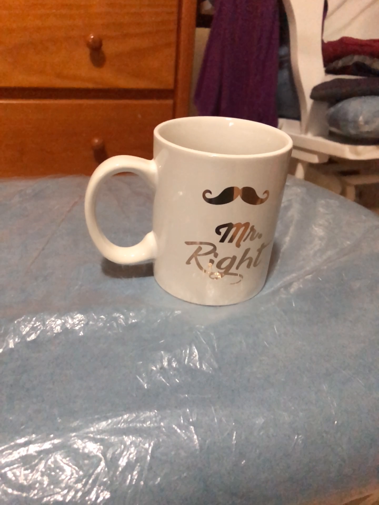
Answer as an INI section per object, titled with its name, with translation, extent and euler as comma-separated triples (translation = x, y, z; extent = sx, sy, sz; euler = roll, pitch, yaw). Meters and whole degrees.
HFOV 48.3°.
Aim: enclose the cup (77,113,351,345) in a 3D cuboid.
[cup]
translation = 0.003, -0.023, 0.277
extent = 0.140, 0.110, 0.100
euler = -3, 30, -13
